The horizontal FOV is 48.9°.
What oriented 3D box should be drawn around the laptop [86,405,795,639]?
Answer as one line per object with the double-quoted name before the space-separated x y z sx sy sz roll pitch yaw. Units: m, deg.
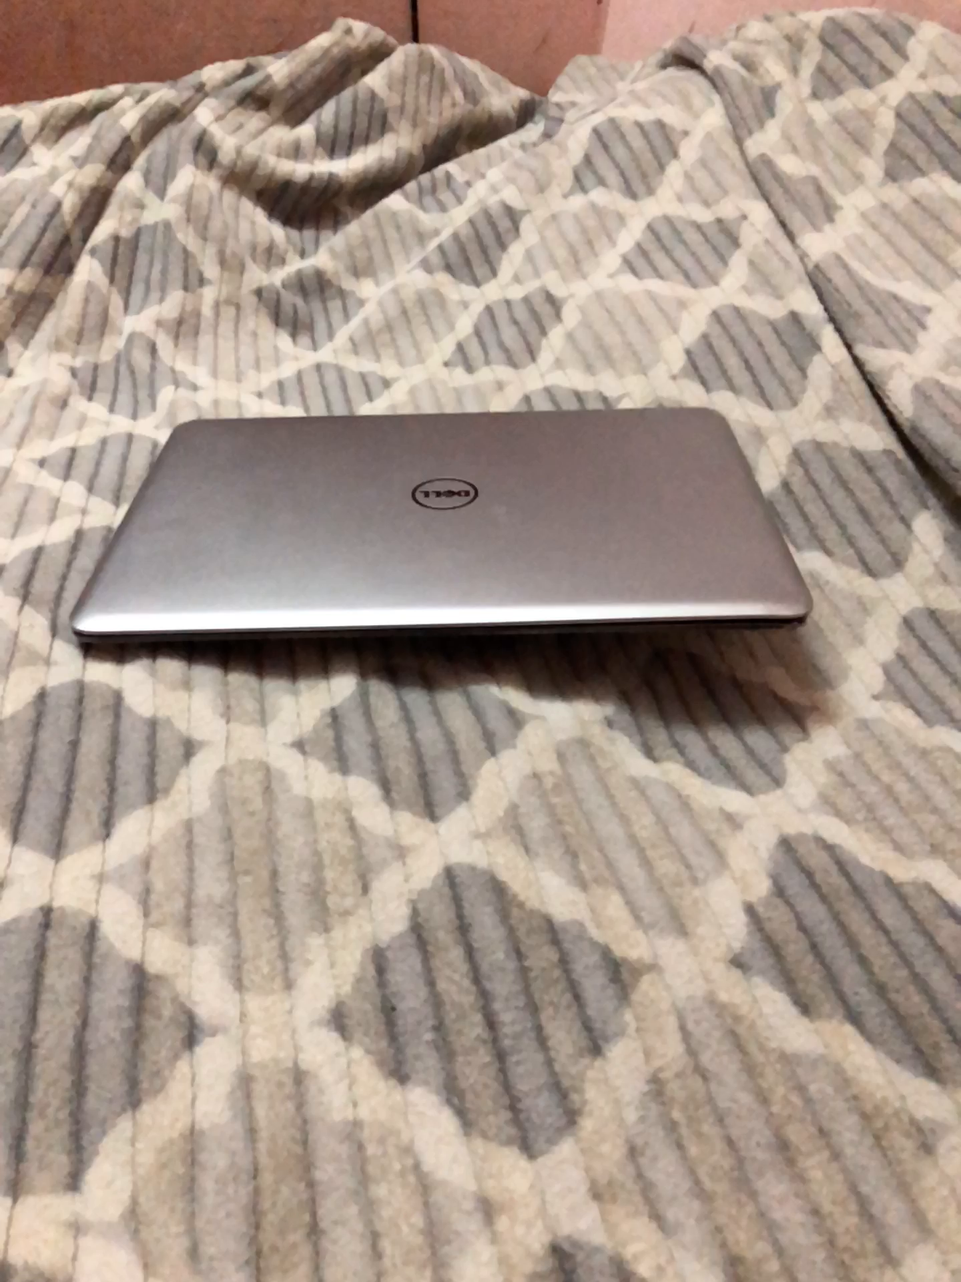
"laptop" -0.022 -0.083 0.638 0.359 0.007 0.253 -1 36 0
